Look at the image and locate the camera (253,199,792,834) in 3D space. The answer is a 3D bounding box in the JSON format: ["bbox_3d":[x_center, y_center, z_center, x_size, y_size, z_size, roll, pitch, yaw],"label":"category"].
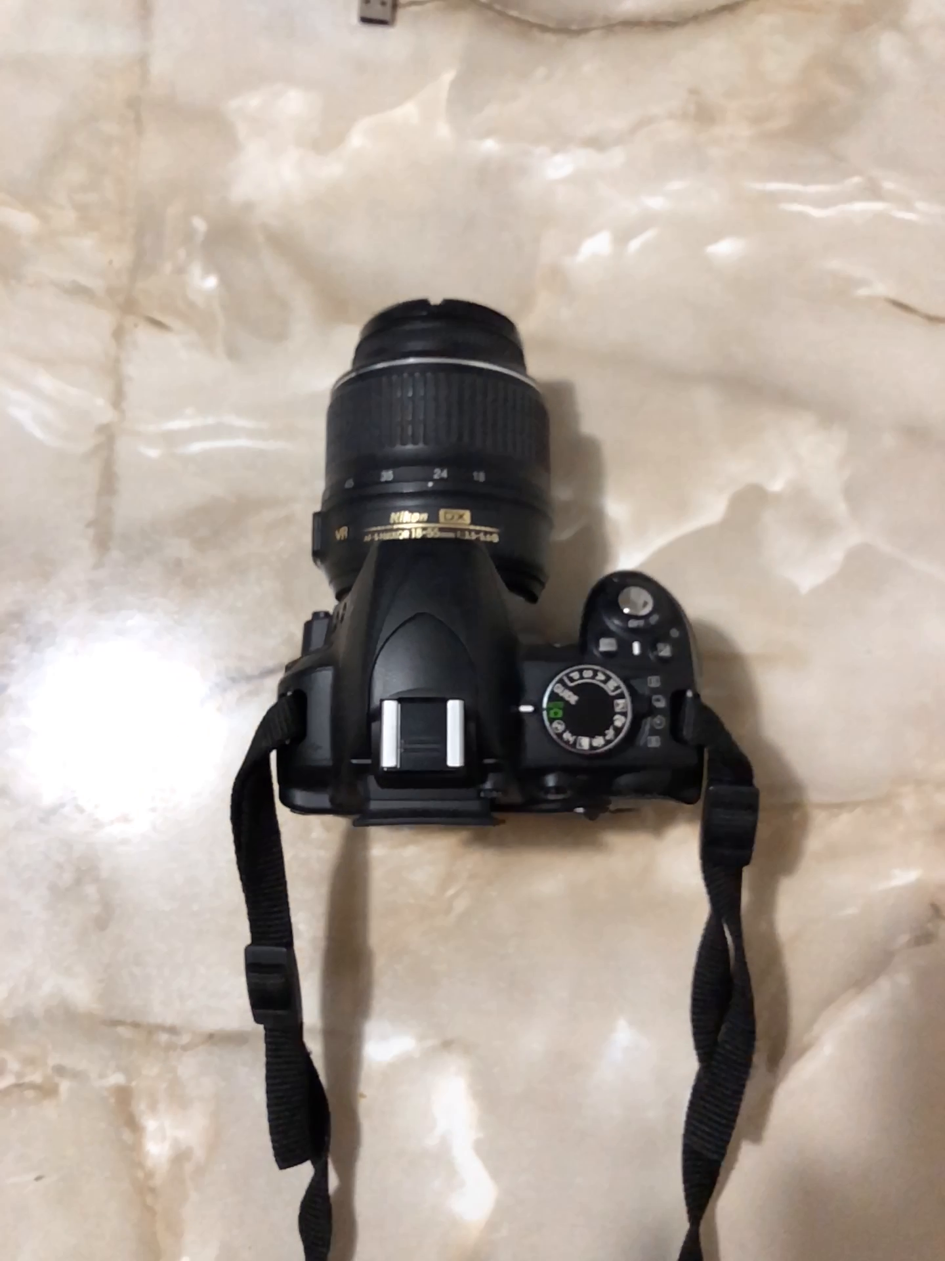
[{"bbox_3d":[0.012,-0.023,0.309,0.126,0.100,0.160,-1,80,1],"label":"camera"}]
